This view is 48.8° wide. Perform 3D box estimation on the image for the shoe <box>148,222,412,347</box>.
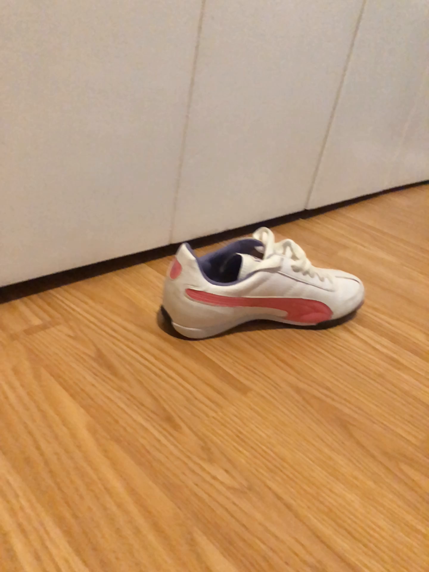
[{"bbox_3d":[0.072,-0.012,0.515,0.260,0.080,0.100,-4,32,-27],"label":"shoe"}]
